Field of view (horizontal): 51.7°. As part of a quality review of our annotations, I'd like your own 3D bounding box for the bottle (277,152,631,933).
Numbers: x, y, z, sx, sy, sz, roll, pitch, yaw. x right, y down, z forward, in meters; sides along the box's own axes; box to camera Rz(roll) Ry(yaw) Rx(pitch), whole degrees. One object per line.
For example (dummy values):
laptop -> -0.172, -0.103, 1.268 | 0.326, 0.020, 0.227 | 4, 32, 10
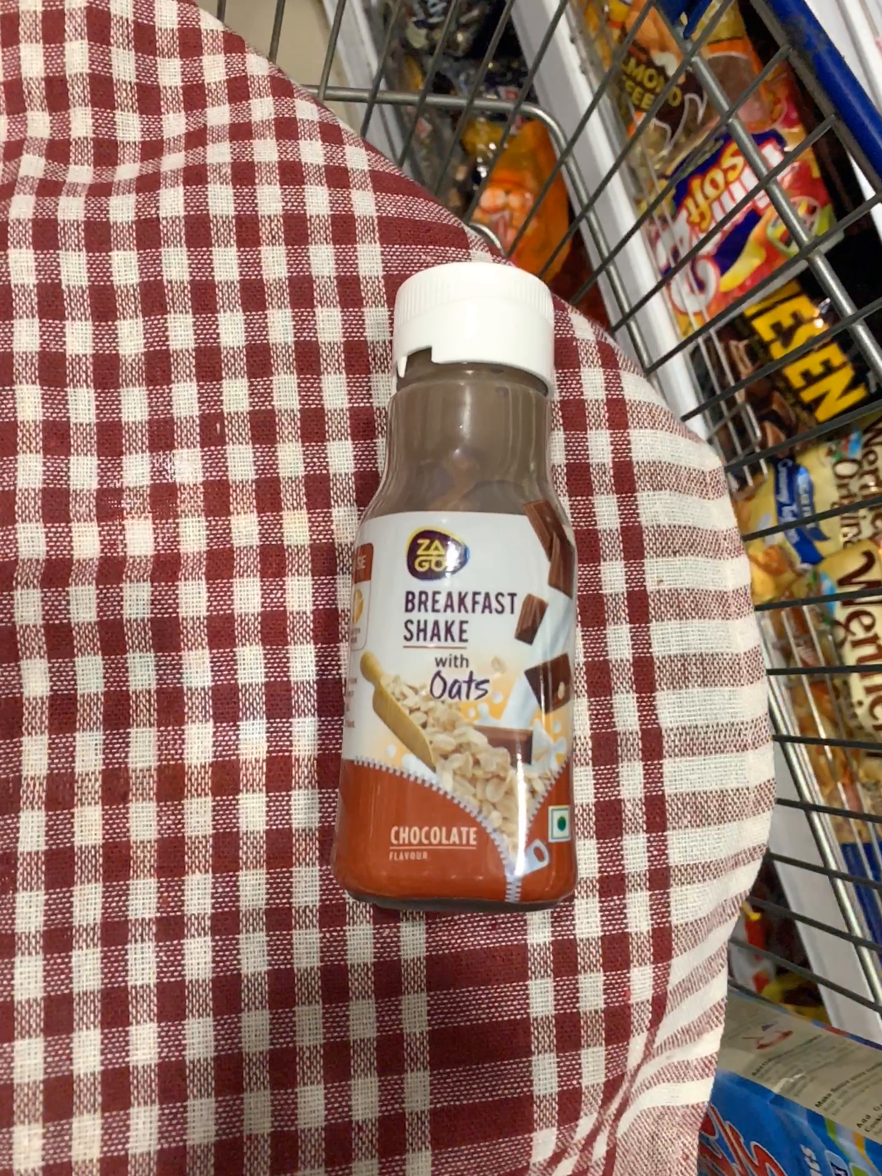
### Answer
bottle -> 0.002, -0.009, 0.203 | 0.060, 0.050, 0.150 | 4, 84, -5
